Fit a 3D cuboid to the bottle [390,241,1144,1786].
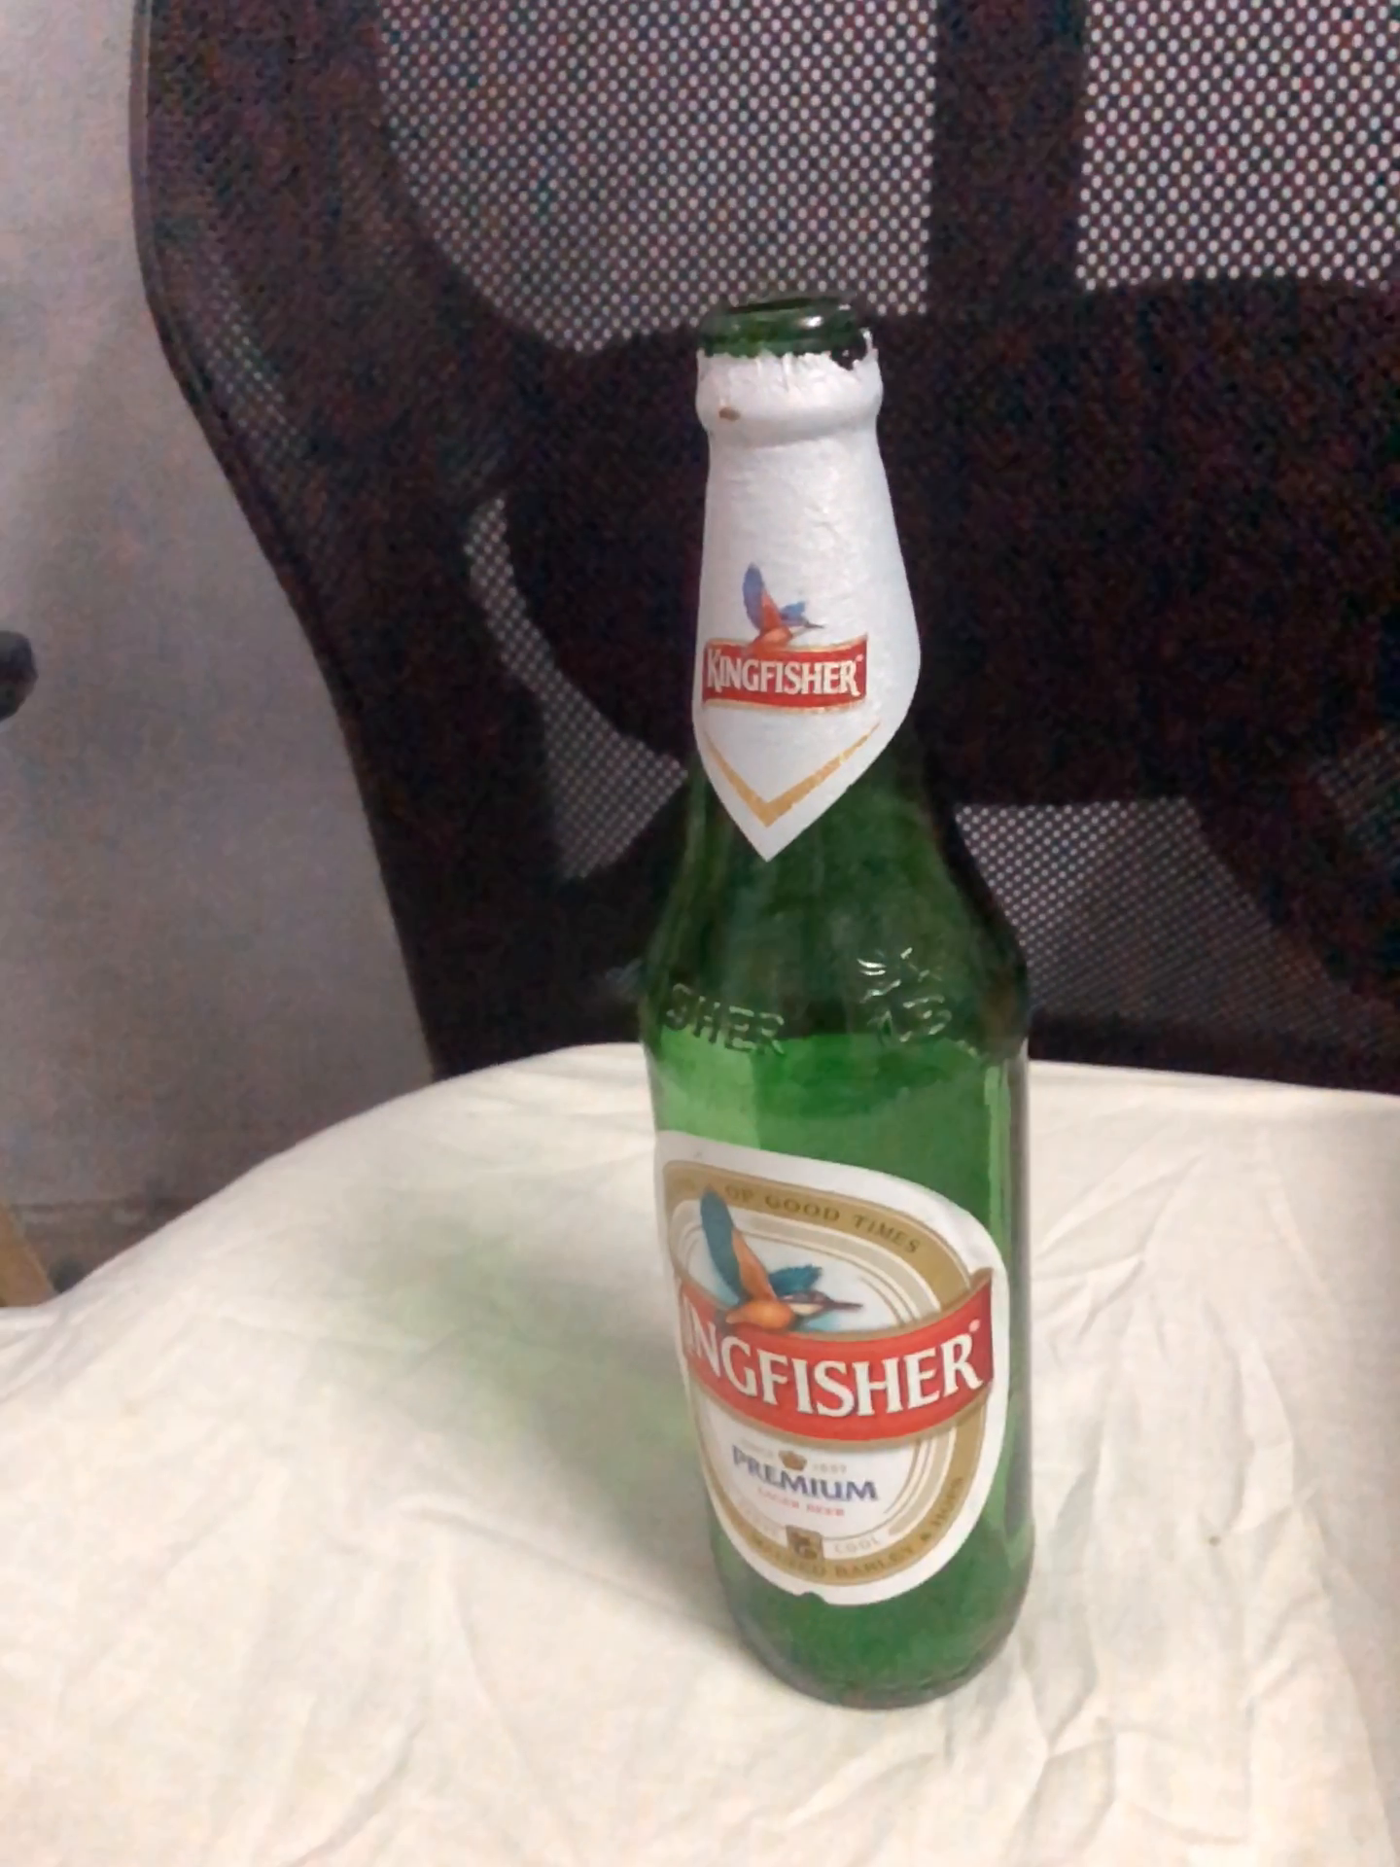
[{"bbox_3d":[0.024,0.025,0.274,0.080,0.259,0.070,10,33,27],"label":"bottle"}]
